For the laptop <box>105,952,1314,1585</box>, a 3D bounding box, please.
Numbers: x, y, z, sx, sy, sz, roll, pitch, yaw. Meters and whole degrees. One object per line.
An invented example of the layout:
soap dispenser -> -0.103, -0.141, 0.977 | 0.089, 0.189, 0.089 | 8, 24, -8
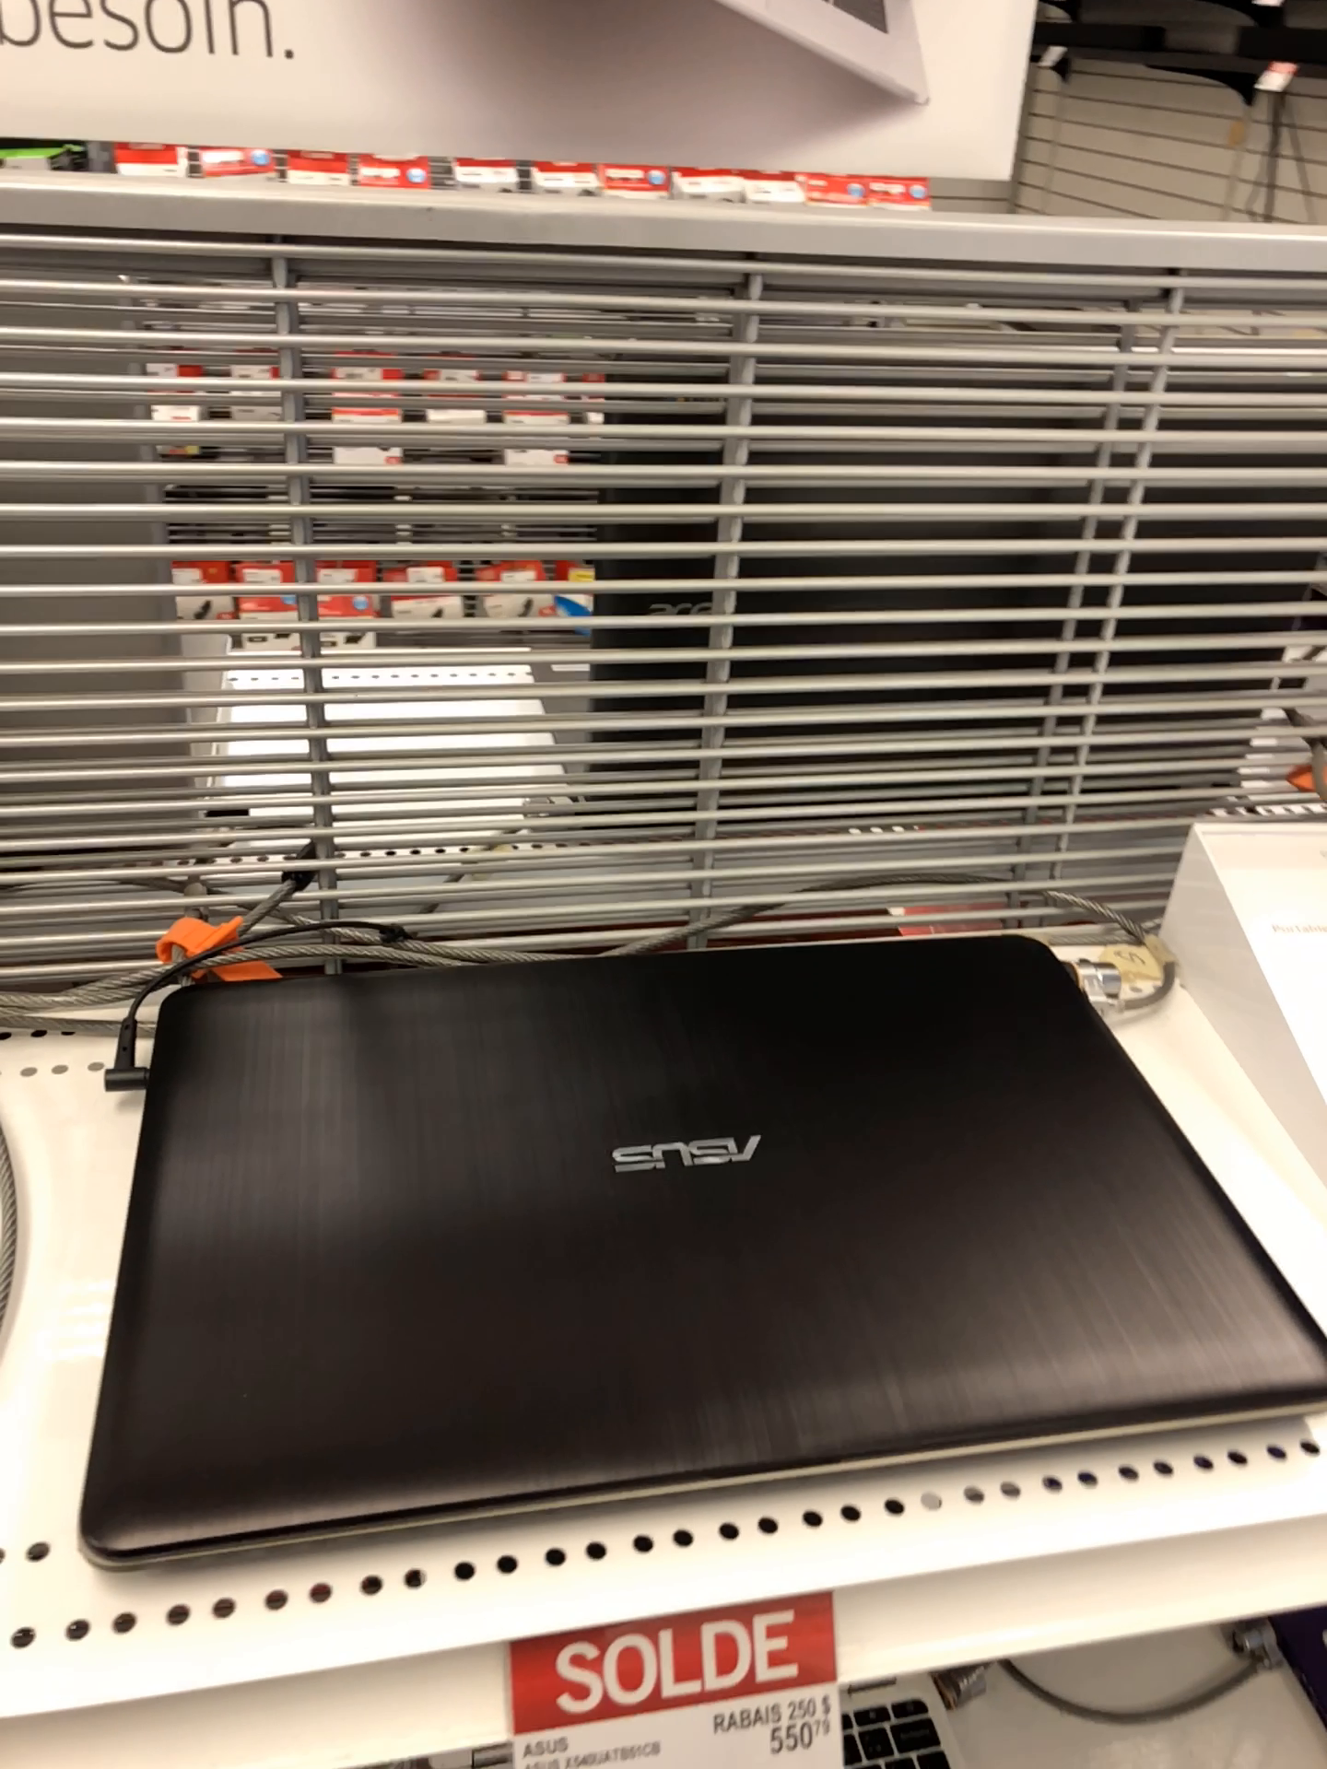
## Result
laptop -> 0.011, 0.108, 0.525 | 0.367, 0.013, 0.235 | -2, 34, -14
